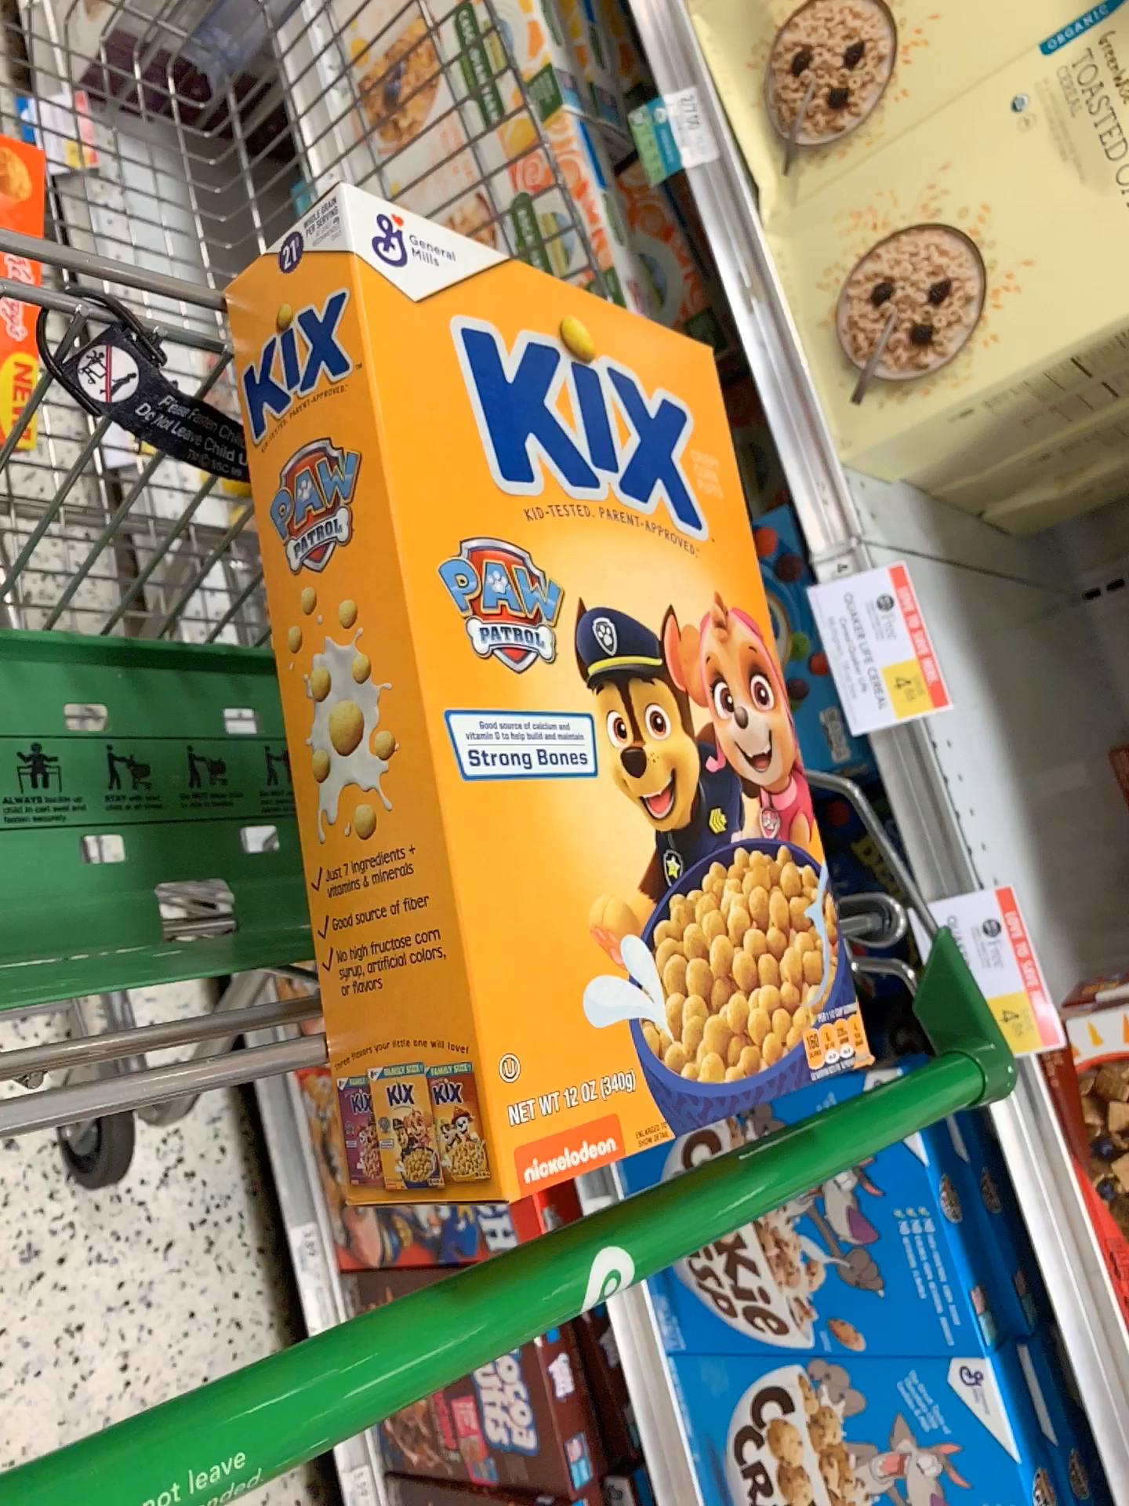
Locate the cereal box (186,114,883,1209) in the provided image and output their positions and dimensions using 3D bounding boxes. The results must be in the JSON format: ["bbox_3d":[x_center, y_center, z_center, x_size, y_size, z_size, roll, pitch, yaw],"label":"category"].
[{"bbox_3d":[-0.003,-0.028,0.431,0.211,0.079,0.321,1,75,-48],"label":"cereal box"}]
